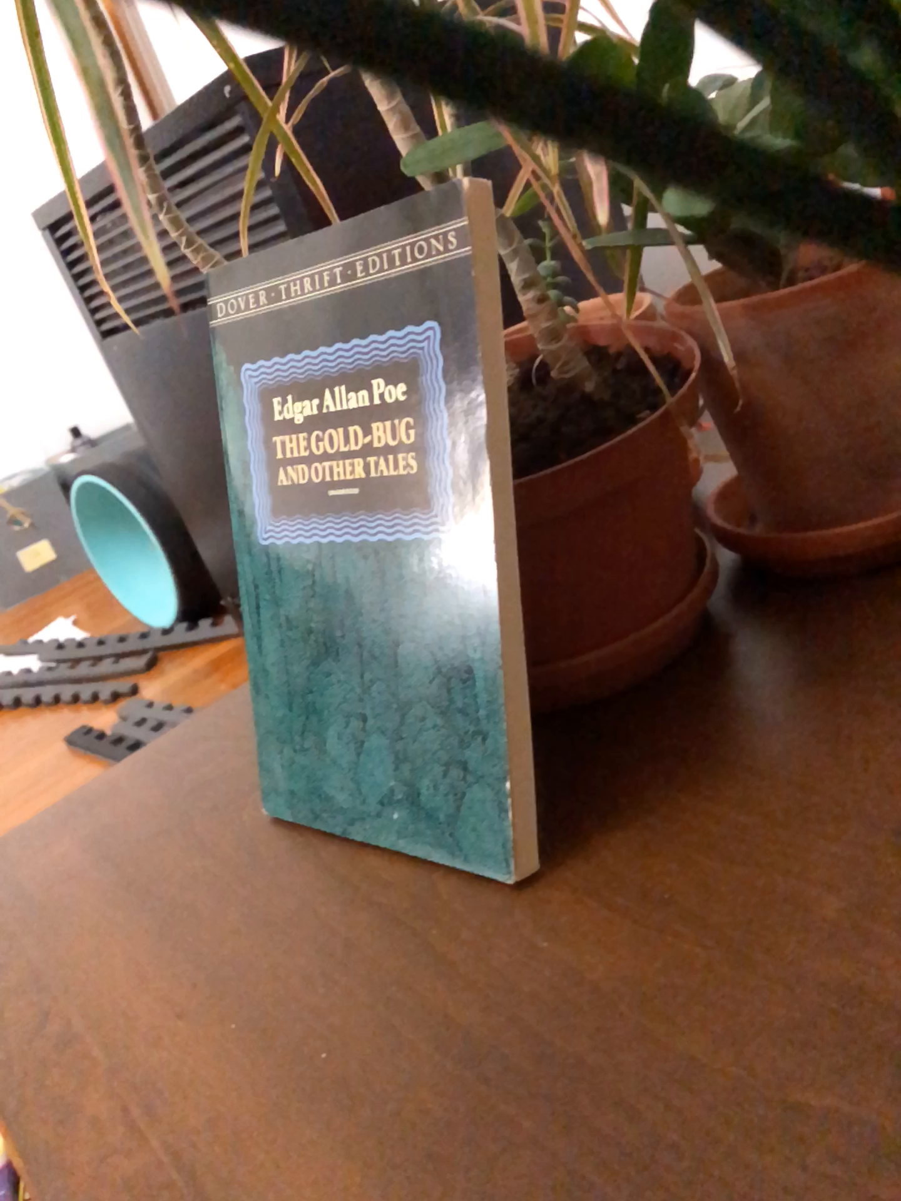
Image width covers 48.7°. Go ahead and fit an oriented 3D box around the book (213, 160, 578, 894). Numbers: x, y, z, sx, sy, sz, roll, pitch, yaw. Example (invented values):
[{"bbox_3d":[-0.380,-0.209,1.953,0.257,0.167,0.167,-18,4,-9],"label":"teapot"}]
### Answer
[{"bbox_3d":[-0.025,-0.020,0.341,0.140,0.210,0.020,1,7,44],"label":"book"}]
